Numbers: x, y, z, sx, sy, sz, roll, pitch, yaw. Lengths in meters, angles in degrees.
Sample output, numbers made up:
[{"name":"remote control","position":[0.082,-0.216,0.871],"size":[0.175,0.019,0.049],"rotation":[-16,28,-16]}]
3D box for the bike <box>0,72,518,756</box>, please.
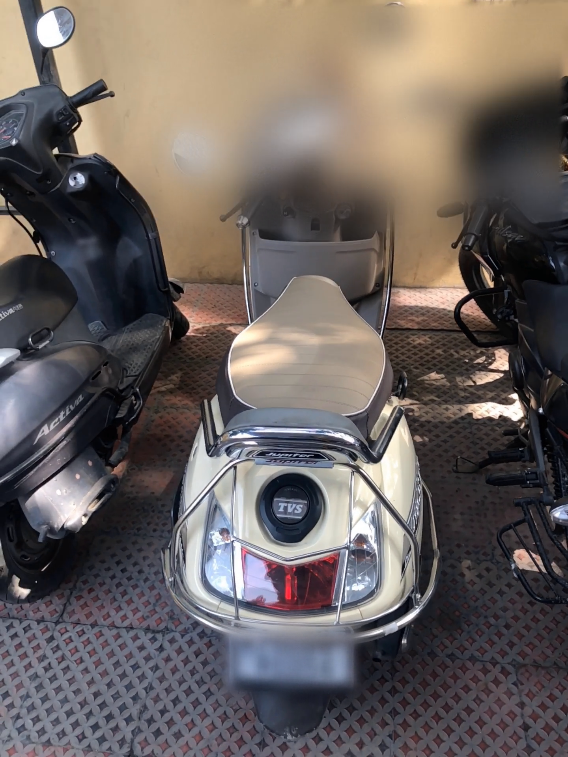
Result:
[{"name":"bike","position":[-0.051,-0.100,1.689],"size":[0.644,0.998,1.636],"rotation":[-3,37,1]}]
